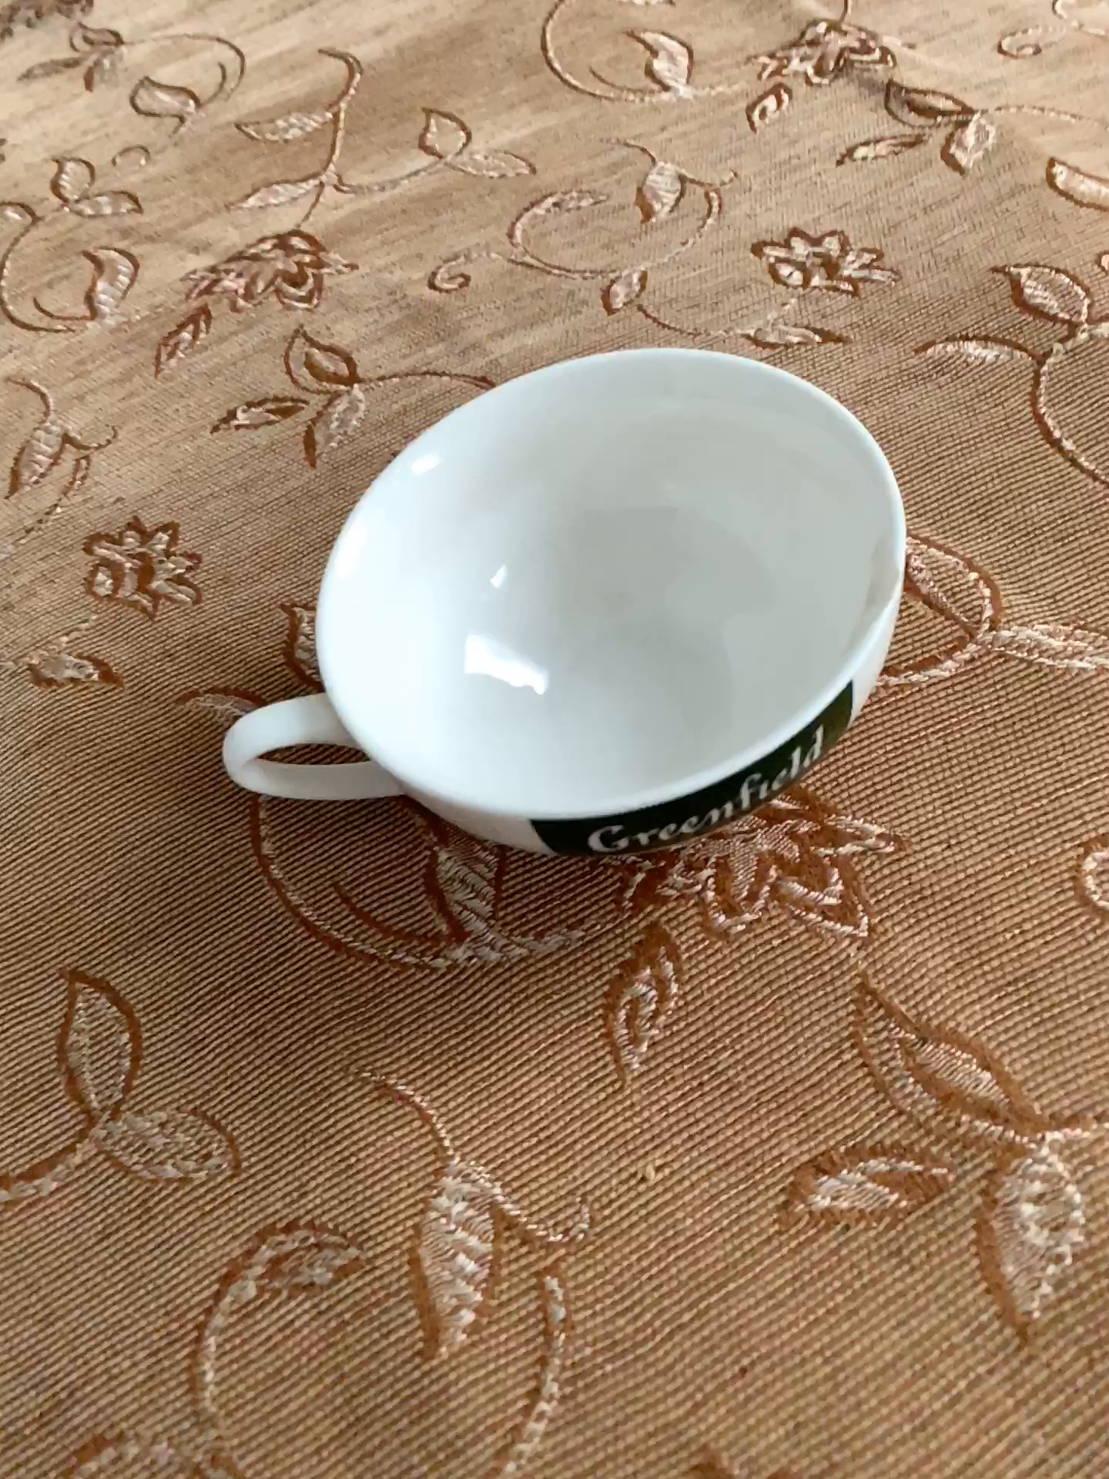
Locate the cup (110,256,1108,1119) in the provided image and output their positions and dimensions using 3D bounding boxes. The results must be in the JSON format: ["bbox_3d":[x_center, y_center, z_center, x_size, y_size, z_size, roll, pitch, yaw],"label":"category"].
[{"bbox_3d":[0.001,-0.017,0.211,0.140,0.040,0.111,-25,54,-3],"label":"cup"}]
